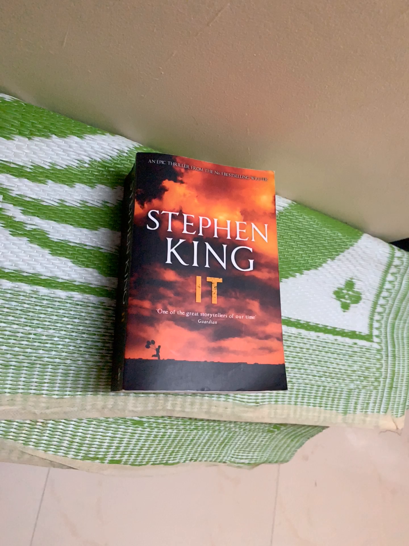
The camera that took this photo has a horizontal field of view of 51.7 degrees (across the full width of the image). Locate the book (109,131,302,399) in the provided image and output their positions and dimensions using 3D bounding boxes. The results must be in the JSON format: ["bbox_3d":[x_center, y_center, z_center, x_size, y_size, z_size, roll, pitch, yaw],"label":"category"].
[{"bbox_3d":[0.000,-0.001,0.378,0.140,0.070,0.210,9,68,-23],"label":"book"}]
